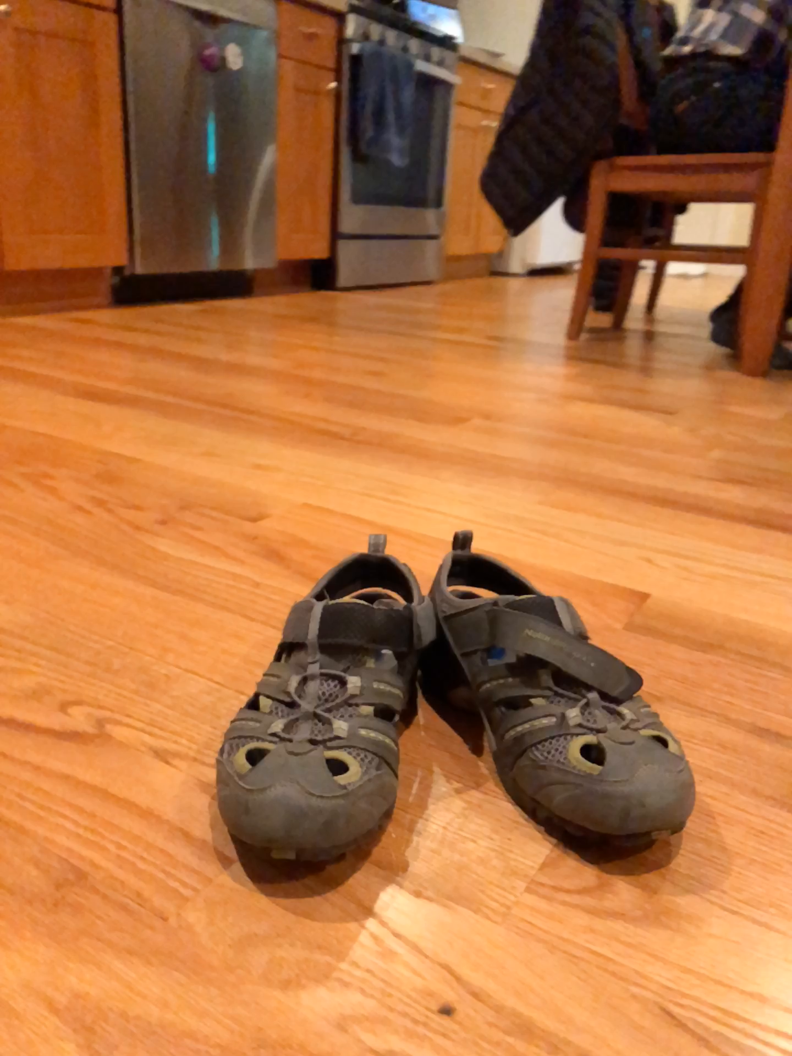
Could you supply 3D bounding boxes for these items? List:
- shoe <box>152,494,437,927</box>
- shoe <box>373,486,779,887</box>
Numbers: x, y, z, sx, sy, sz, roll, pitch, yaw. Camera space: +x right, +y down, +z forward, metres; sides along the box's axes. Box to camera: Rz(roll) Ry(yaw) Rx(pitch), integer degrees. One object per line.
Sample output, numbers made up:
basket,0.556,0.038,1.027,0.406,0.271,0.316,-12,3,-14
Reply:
shoe,-0.039,0.076,0.483,0.100,0.113,0.246,5,20,5
shoe,0.082,0.069,0.514,0.100,0.113,0.246,-6,22,-23
